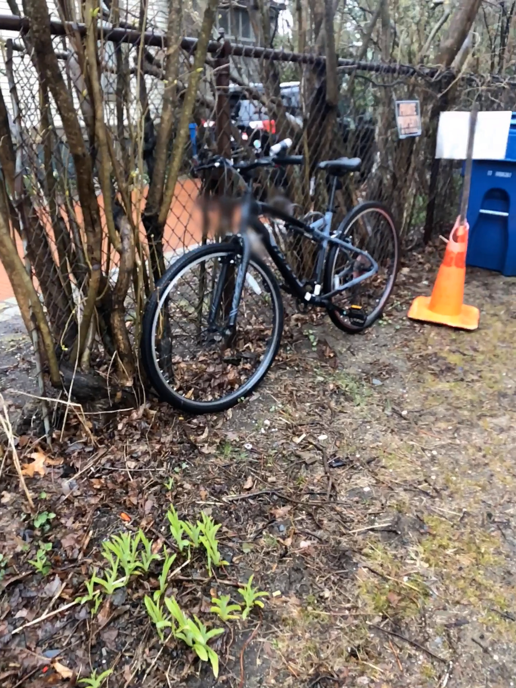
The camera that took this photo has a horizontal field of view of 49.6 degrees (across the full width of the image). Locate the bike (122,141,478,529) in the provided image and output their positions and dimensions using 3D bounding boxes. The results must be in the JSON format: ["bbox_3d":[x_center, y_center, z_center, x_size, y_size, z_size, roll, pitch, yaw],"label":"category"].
[{"bbox_3d":[0.328,-0.247,2.651,0.537,1.067,1.894,18,33,38],"label":"bike"}]
